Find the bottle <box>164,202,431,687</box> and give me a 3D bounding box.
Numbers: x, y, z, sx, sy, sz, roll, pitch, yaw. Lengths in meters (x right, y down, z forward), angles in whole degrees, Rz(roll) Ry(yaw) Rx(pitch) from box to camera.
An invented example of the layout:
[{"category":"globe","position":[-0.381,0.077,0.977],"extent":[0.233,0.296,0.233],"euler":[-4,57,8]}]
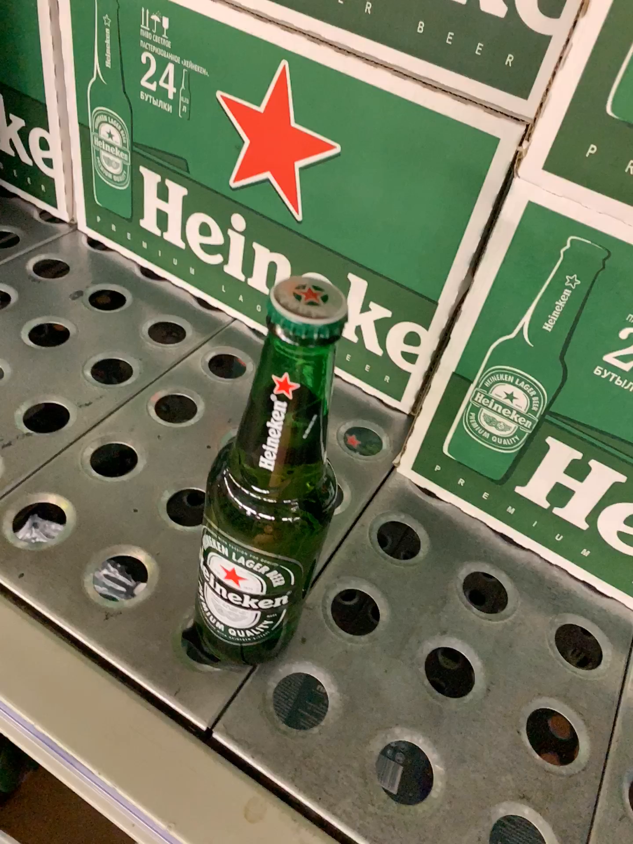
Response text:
[{"category":"bottle","position":[-0.022,0.029,0.286],"extent":[0.060,0.225,0.060],"euler":[7,45,-7]}]
